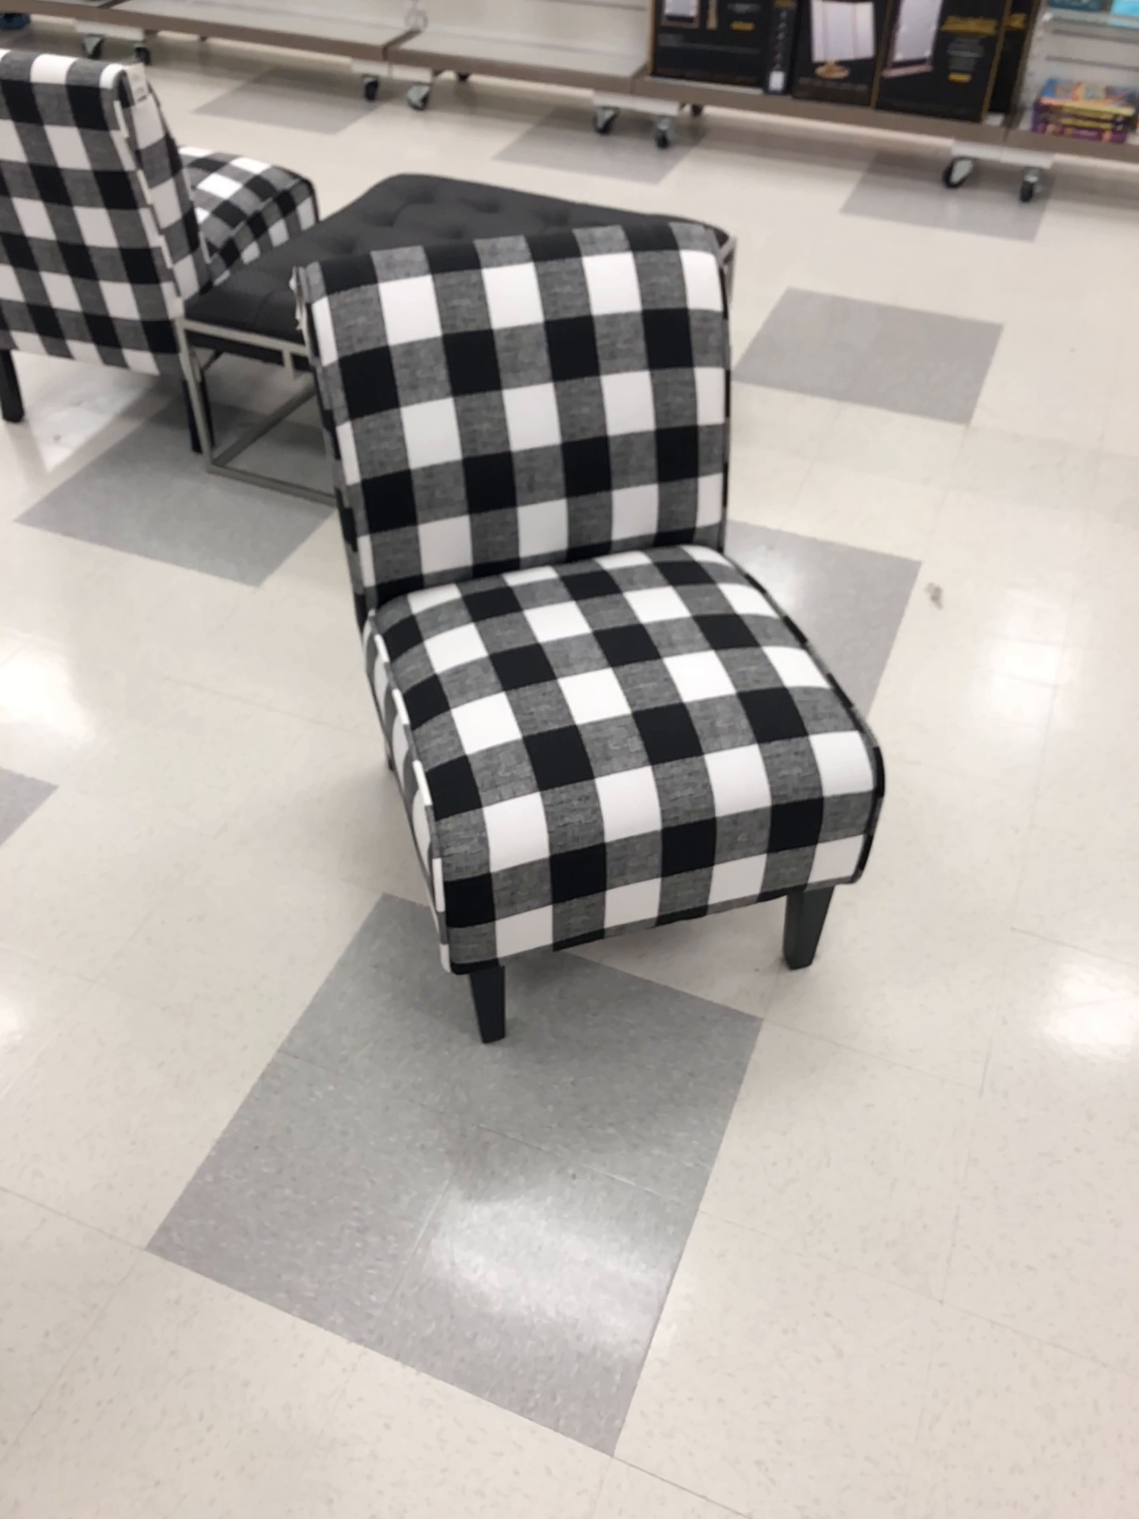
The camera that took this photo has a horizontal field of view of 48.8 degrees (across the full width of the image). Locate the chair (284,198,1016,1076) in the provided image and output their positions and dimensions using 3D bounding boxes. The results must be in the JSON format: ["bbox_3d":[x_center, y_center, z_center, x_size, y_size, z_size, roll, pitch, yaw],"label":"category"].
[{"bbox_3d":[0.036,-0.174,1.693,0.625,0.832,0.702,-11,45,-12],"label":"chair"}]

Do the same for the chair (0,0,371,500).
[{"bbox_3d":[-0.929,-1.176,2.743,0.624,0.832,0.733,16,46,16],"label":"chair"}]
